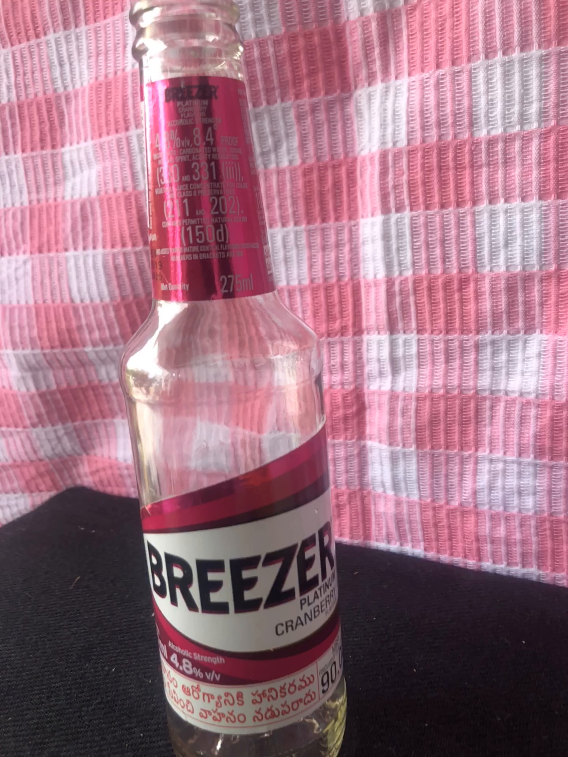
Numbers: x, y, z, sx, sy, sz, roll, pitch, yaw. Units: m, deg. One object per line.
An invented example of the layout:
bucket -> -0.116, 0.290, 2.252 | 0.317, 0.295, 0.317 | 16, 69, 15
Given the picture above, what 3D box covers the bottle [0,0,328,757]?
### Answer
bottle -> -0.025, 0.017, 0.163 | 0.060, 0.209, 0.060 | -4, 16, 1
